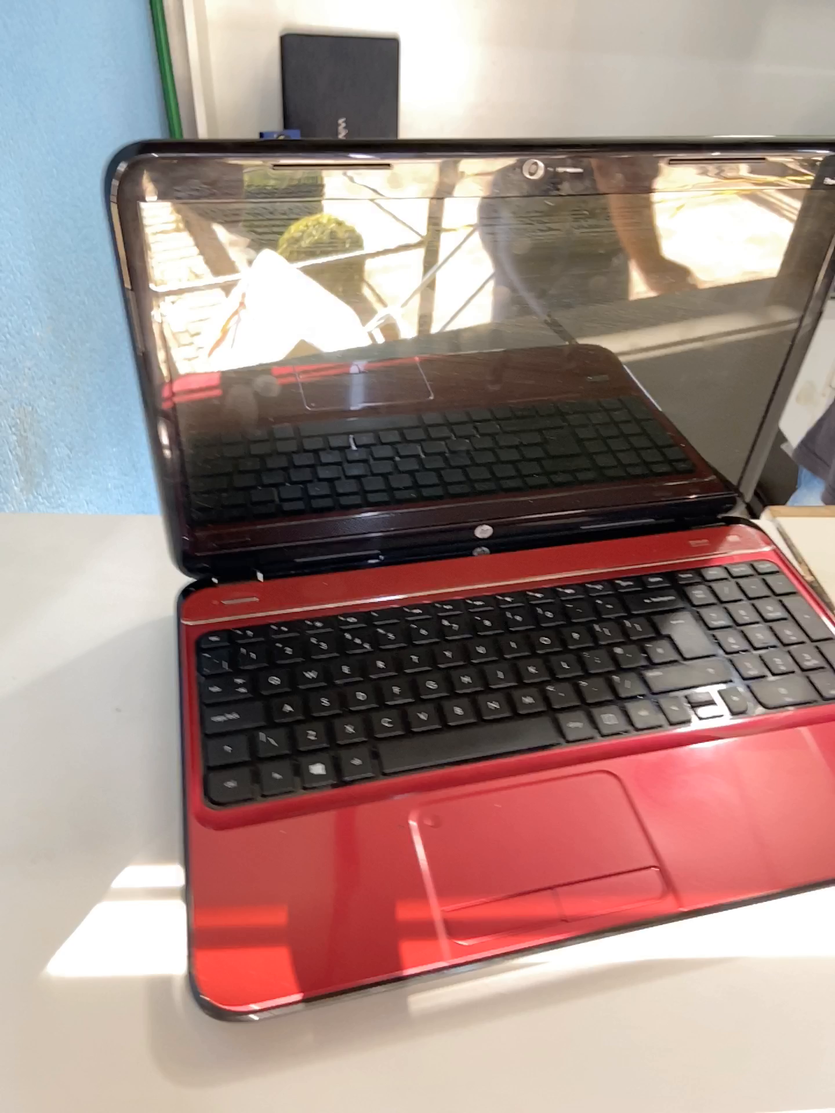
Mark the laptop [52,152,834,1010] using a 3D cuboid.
[{"bbox_3d":[0.070,-0.014,0.360,0.356,0.220,0.228,-7,41,-11],"label":"laptop"}]
